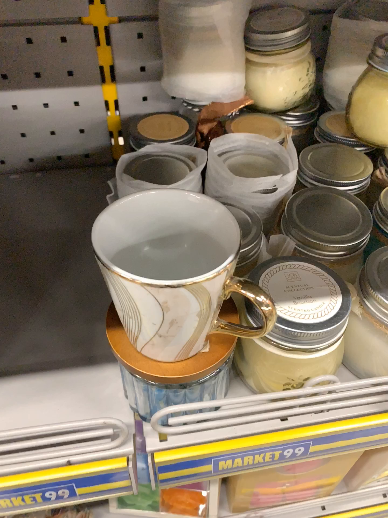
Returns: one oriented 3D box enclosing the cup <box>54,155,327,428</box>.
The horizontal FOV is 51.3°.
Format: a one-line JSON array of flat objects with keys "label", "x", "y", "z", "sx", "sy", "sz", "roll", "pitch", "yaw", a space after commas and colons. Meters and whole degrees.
[{"label": "cup", "x": -0.002, "y": 0.011, "z": 0.193, "sx": 0.090, "sy": 0.070, "sz": 0.070, "roll": 29, "pitch": 52, "yaw": 26}]
